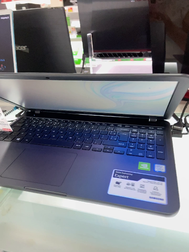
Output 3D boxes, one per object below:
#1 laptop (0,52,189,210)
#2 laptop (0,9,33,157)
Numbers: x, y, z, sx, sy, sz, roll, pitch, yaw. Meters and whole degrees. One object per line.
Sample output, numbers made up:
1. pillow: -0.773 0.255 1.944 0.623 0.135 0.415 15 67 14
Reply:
1. laptop: -0.049 -0.030 0.349 0.365 0.146 0.232 4 31 15
2. laptop: -0.436 -0.143 0.504 0.368 0.240 0.333 4 31 16
